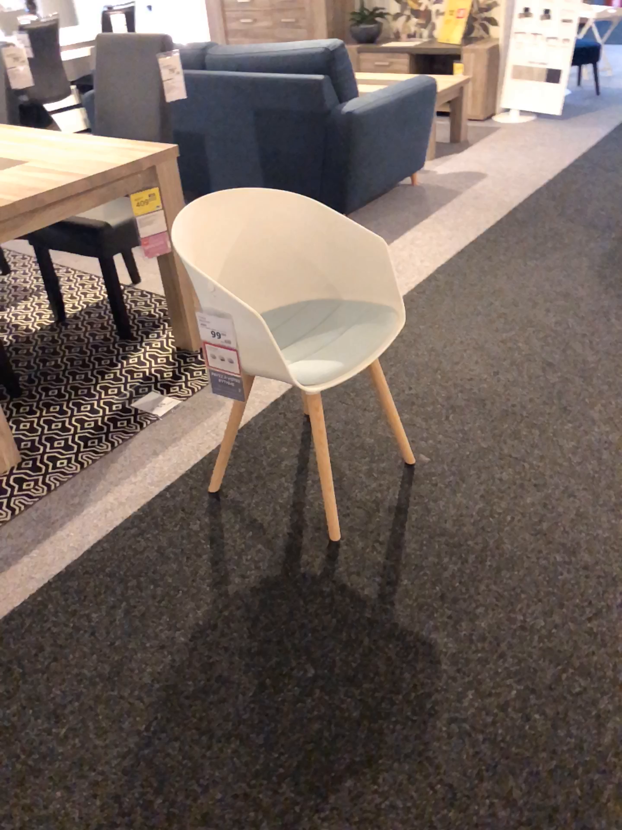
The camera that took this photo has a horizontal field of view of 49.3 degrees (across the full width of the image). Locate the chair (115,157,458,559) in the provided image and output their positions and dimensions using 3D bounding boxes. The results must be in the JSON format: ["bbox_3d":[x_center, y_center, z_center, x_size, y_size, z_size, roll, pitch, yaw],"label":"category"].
[{"bbox_3d":[-0.026,-0.184,1.787,0.580,0.766,0.553,22,42,34],"label":"chair"}]
